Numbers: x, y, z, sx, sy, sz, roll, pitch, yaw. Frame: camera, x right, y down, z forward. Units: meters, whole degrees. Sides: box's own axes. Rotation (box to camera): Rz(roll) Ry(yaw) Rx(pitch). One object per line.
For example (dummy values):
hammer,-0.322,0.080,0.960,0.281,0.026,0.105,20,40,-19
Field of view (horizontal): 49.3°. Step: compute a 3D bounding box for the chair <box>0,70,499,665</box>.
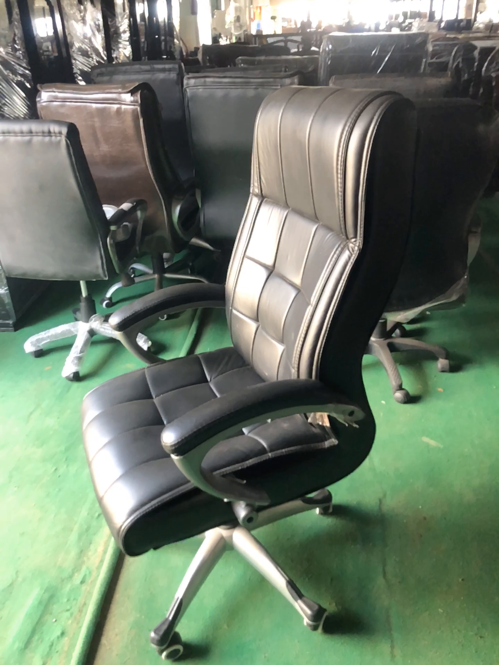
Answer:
chair,0.003,0.073,1.346,0.832,1.224,0.812,-15,31,-21
